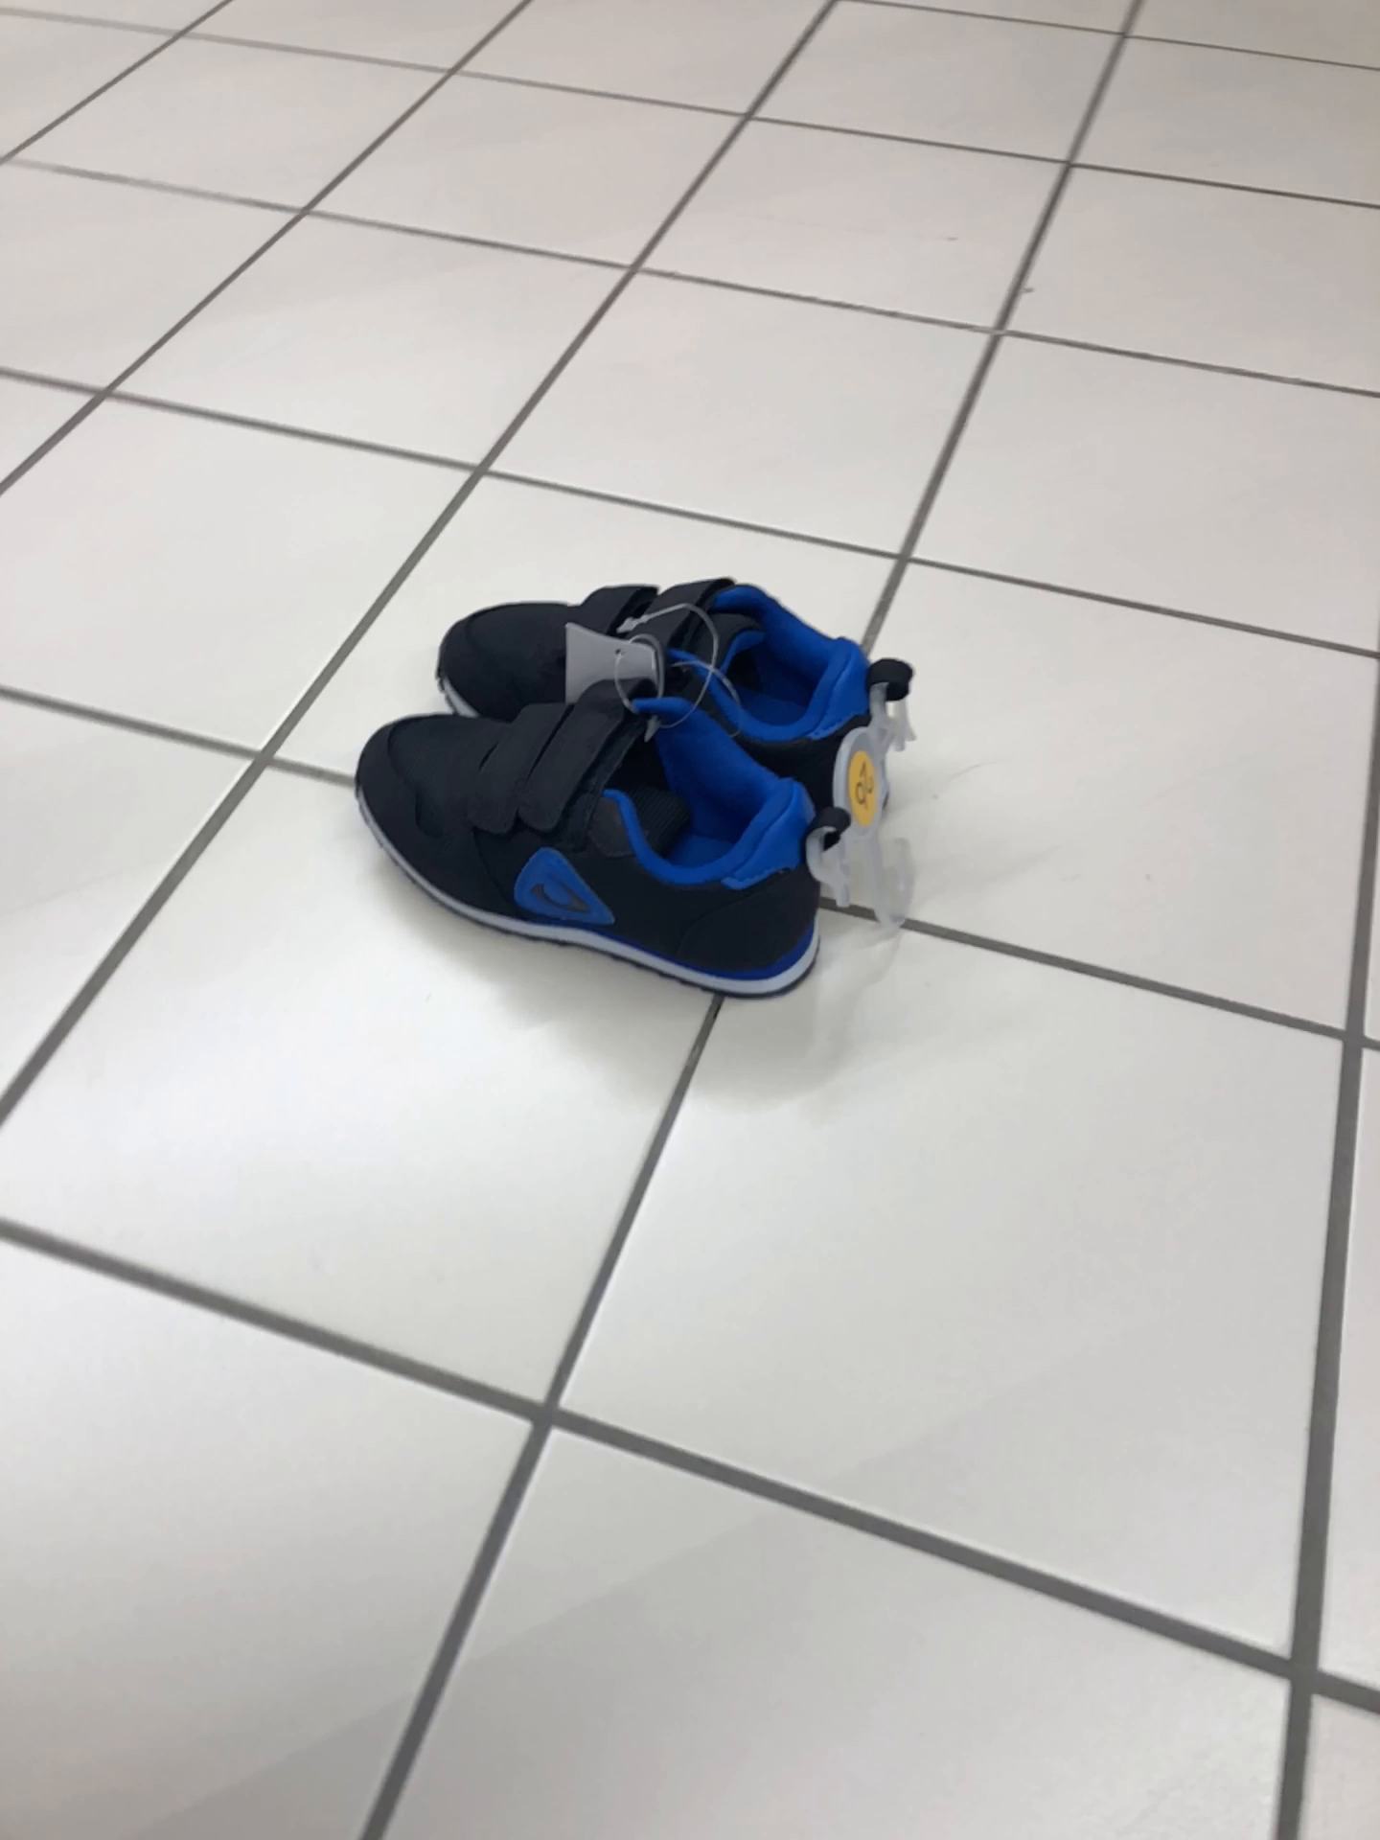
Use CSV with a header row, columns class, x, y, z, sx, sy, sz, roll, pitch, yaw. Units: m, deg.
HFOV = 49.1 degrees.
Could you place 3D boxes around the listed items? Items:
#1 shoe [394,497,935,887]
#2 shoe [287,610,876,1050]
class,x,y,z,sx,sy,sz,roll,pitch,yaw
shoe,-0.009,-0.085,0.548,0.174,0.073,0.068,18,52,14
shoe,-0.035,-0.032,0.504,0.174,0.073,0.068,19,53,16
